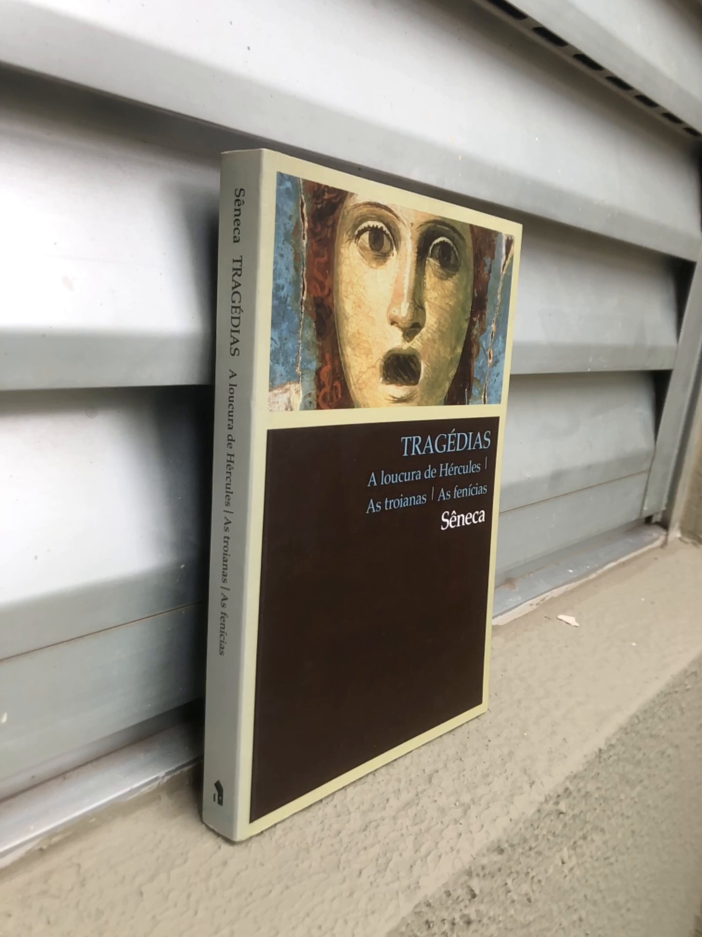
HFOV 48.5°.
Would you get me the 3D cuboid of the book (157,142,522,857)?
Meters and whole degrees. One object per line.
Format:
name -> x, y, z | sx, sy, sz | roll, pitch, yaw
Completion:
book -> 0.004, 0.006, 0.272 | 0.026, 0.197, 0.145 | 9, 11, 44
